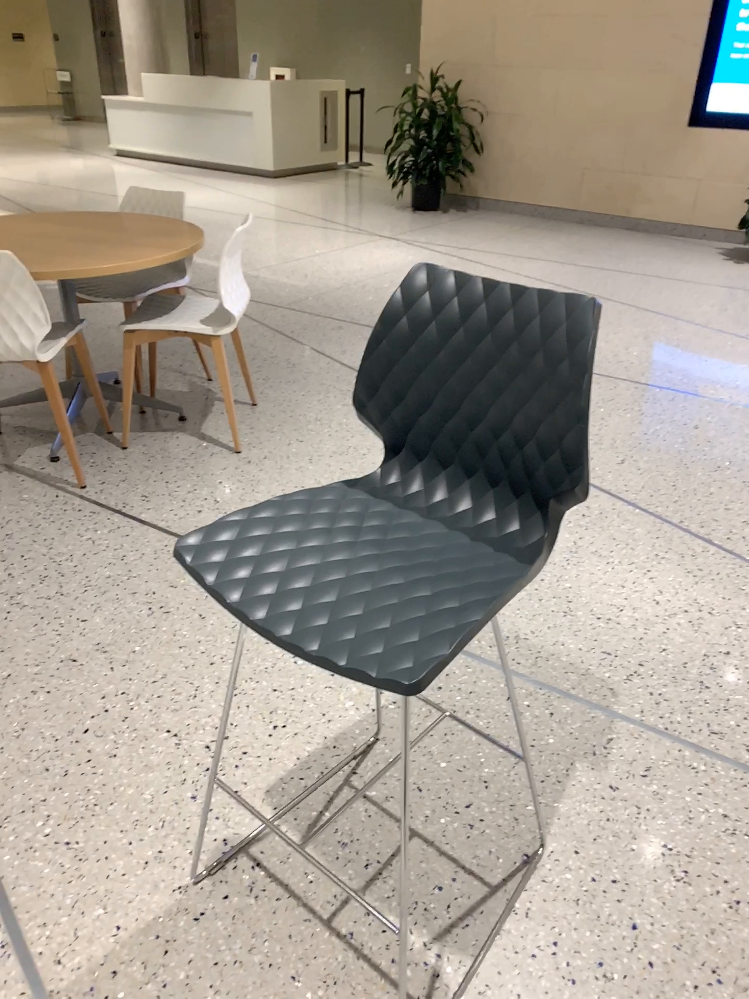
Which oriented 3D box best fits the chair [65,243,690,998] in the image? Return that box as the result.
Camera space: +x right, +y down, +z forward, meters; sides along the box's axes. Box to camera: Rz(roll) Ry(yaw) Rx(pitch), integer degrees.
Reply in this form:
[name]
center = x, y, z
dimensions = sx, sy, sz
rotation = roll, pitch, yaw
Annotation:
[chair]
center = -0.001, 0.205, 1.165
dimensions = 0.536, 0.996, 0.533
rotation = 25, 37, 35
